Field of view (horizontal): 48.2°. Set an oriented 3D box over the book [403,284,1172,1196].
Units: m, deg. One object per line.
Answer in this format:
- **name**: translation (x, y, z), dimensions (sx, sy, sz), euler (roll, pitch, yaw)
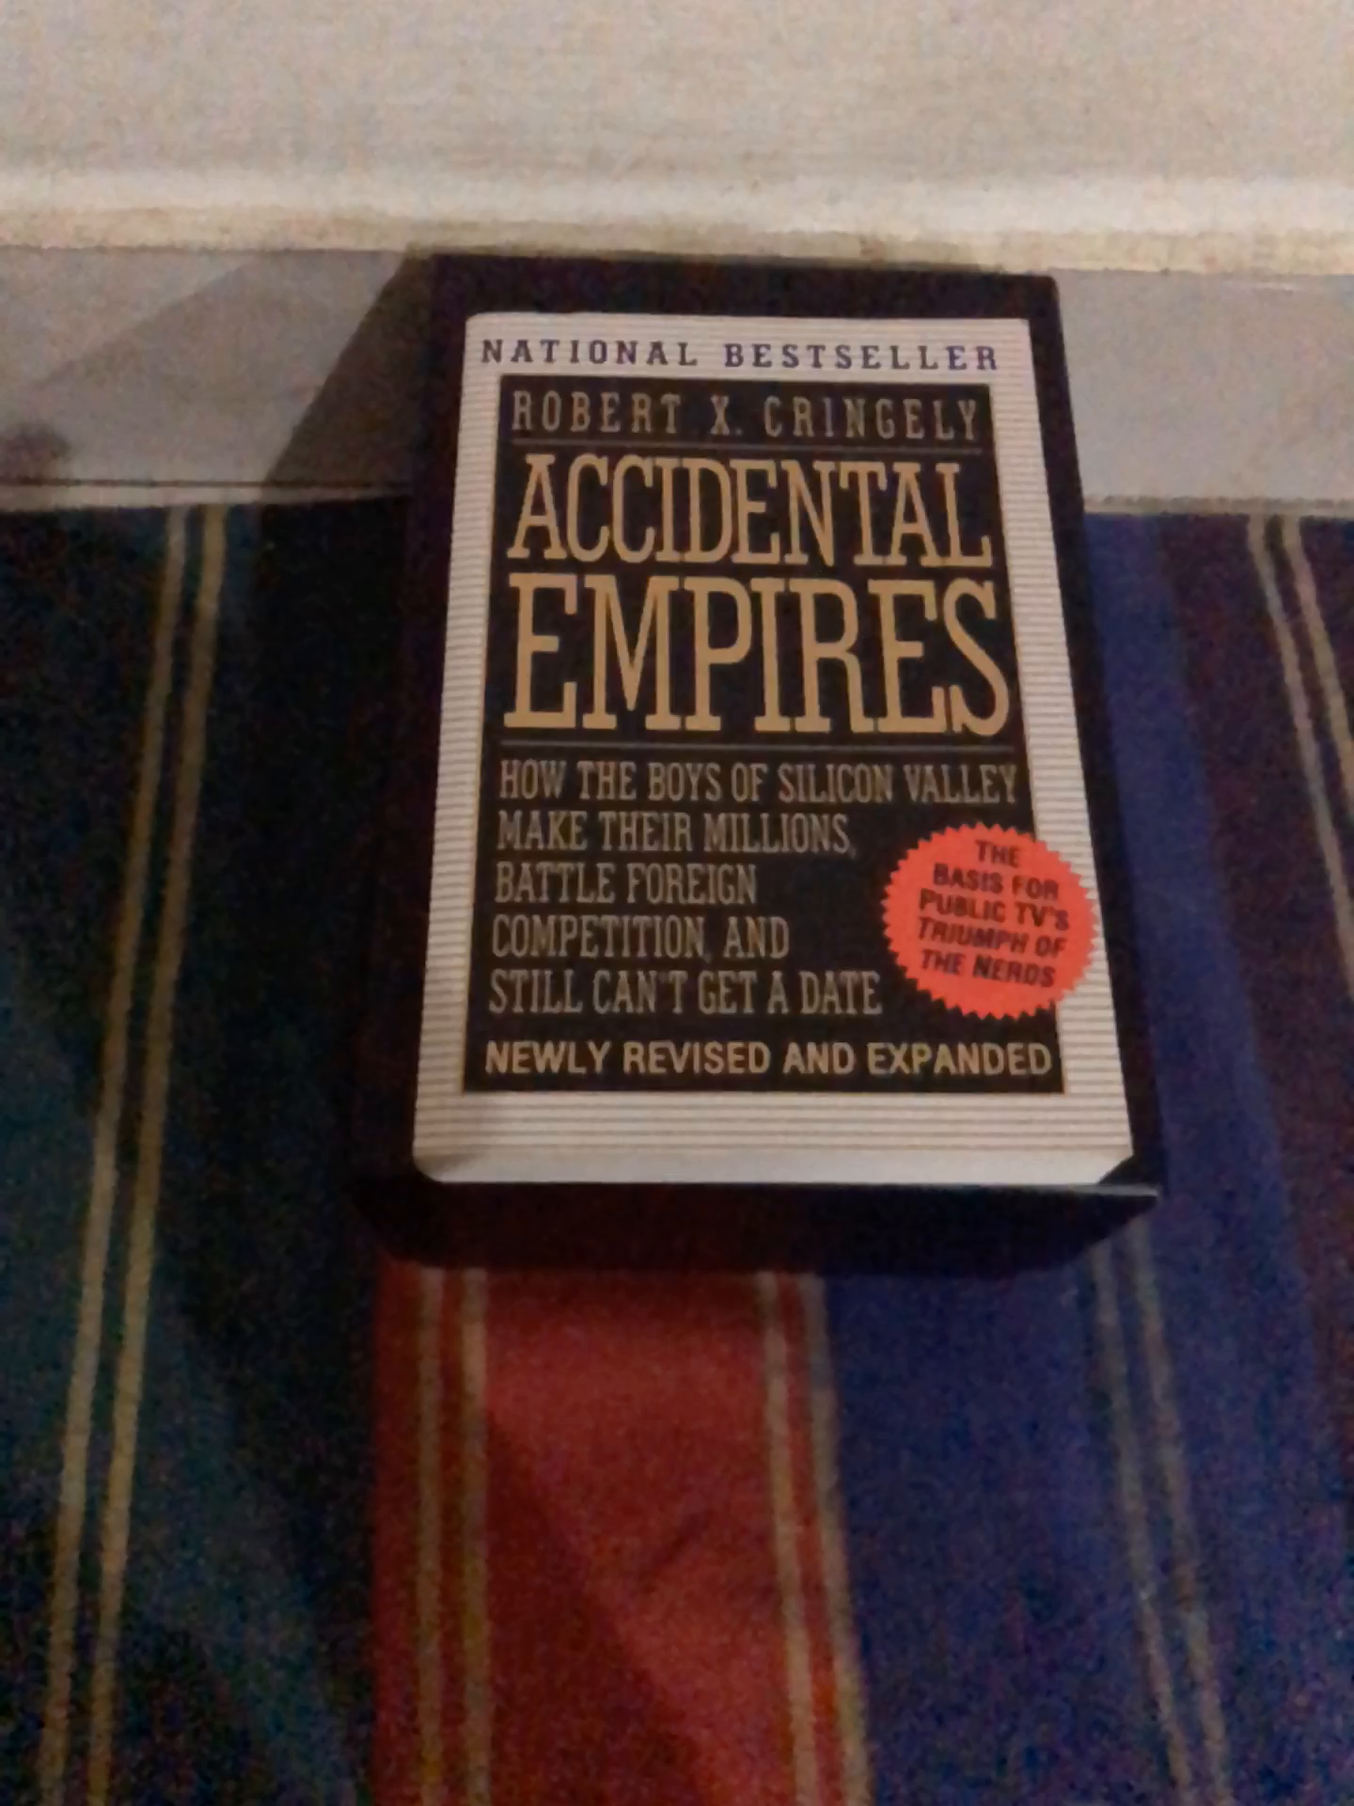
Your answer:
- **book**: translation (0.017, -0.039, 0.311), dimensions (0.130, 0.040, 0.190), euler (0, 66, -2)
